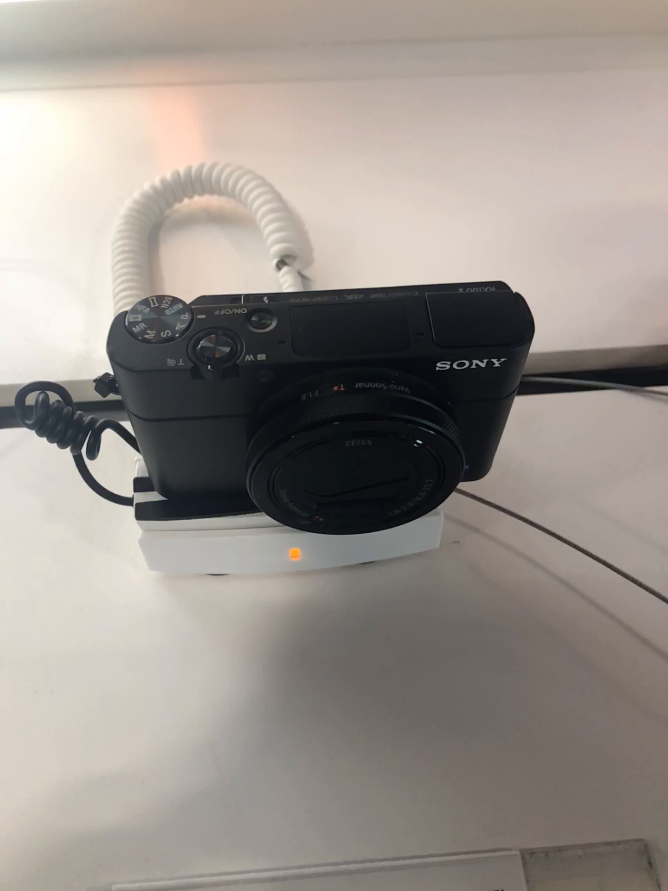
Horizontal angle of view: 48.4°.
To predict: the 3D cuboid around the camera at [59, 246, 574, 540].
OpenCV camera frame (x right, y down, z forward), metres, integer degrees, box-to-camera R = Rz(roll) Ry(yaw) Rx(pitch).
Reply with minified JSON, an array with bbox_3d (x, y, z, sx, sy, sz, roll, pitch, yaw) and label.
[{"bbox_3d":[-0.004,-0.010,0.180,0.101,0.063,0.032,-3,54,-2],"label":"camera"}]
